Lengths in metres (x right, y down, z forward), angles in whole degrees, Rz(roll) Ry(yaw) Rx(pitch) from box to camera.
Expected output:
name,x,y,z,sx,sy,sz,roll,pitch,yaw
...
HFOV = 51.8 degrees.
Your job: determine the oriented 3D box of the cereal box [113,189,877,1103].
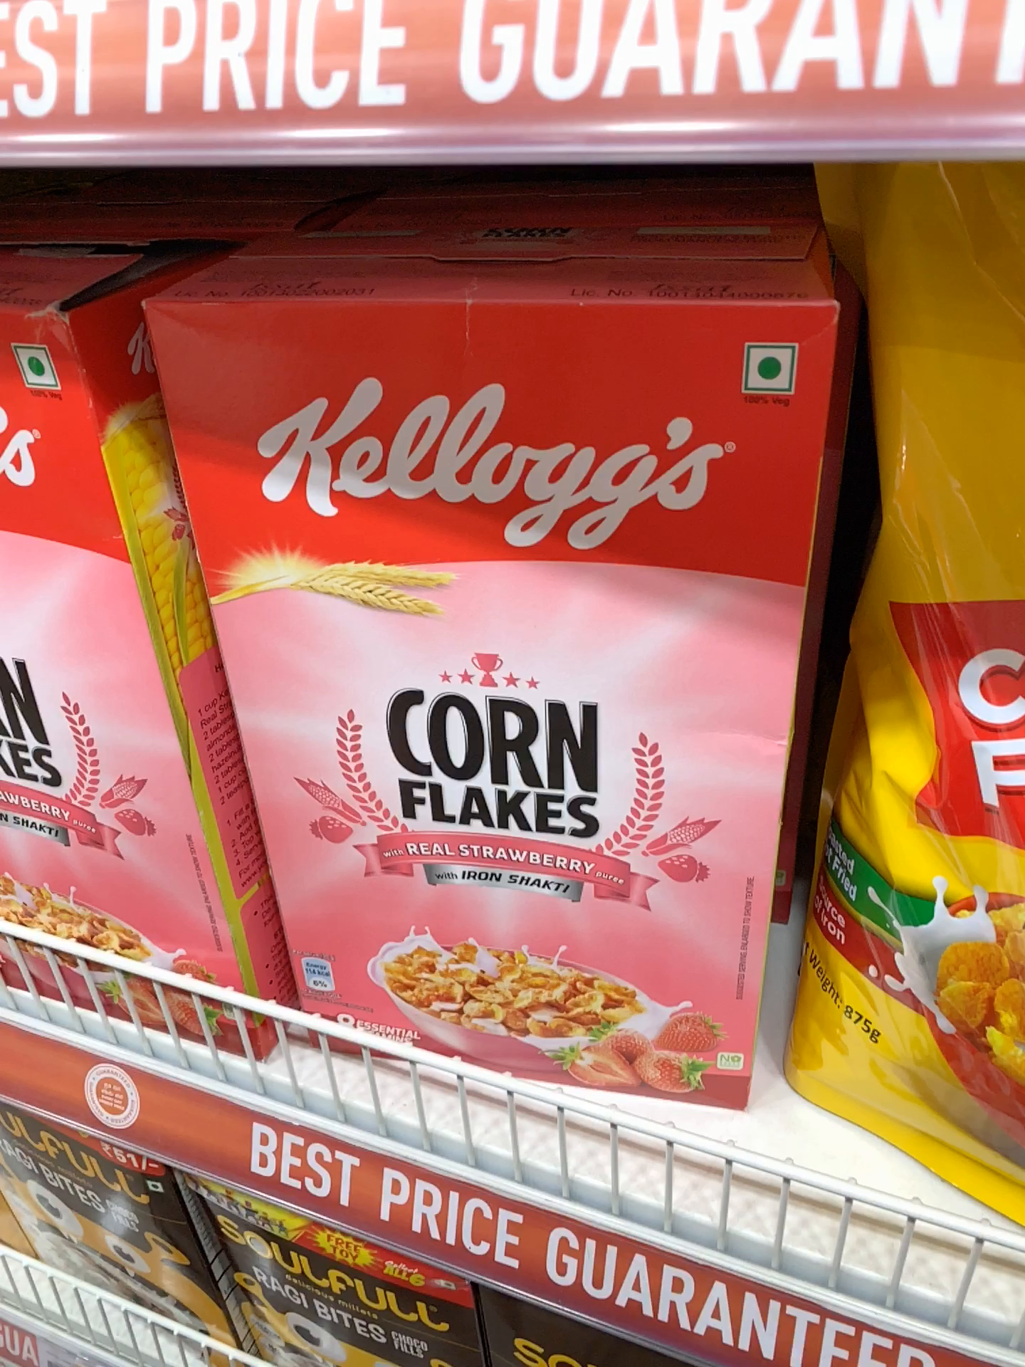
name,x,y,z,sx,sy,sz,roll,pitch,yaw
cereal box,0.007,-0.002,0.338,0.170,0.268,0.091,3,32,11
